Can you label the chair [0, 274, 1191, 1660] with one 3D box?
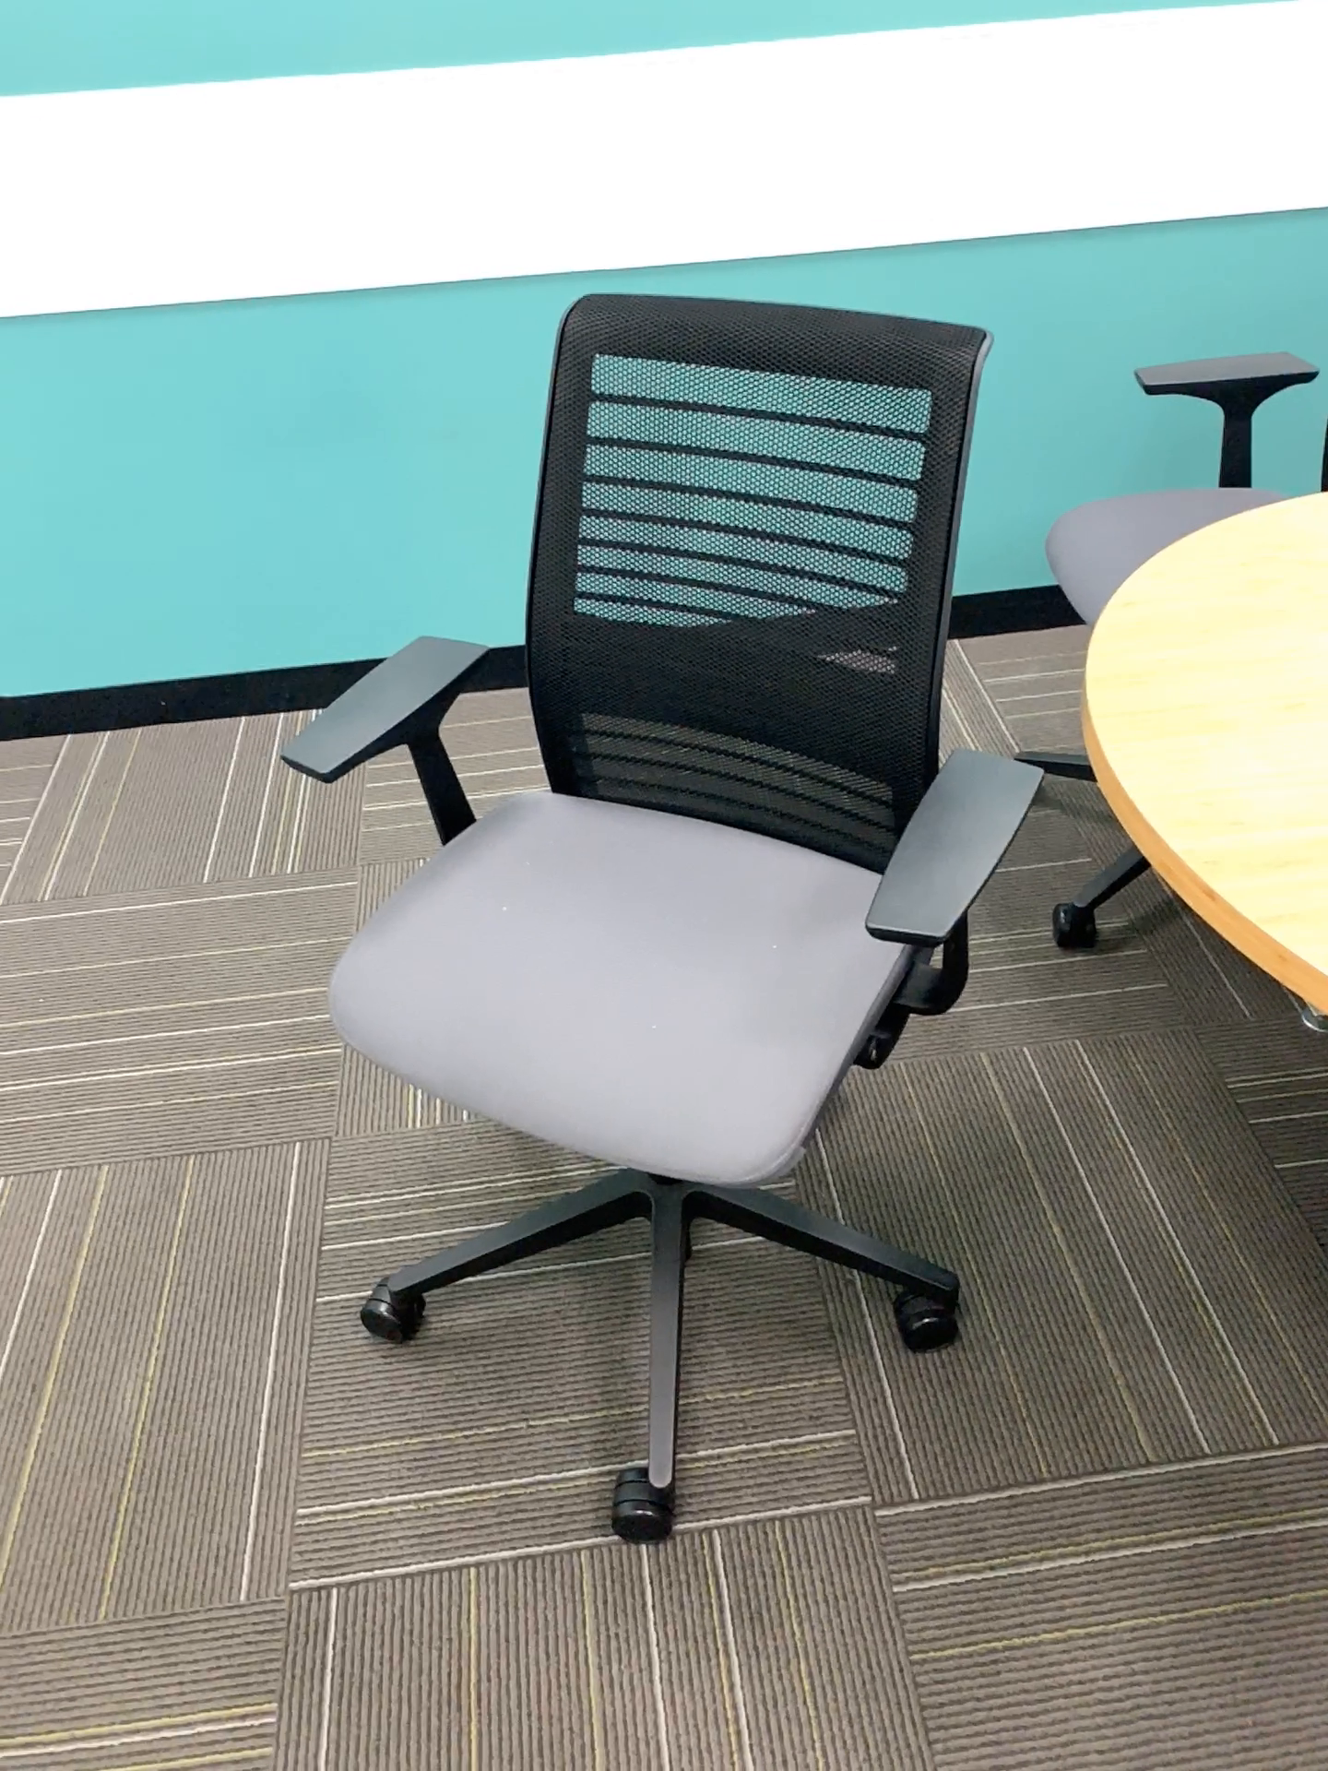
[{"bbox_3d":[0.021,0.027,1.407,0.731,0.984,0.843,13,41,19],"label":"chair"}]
